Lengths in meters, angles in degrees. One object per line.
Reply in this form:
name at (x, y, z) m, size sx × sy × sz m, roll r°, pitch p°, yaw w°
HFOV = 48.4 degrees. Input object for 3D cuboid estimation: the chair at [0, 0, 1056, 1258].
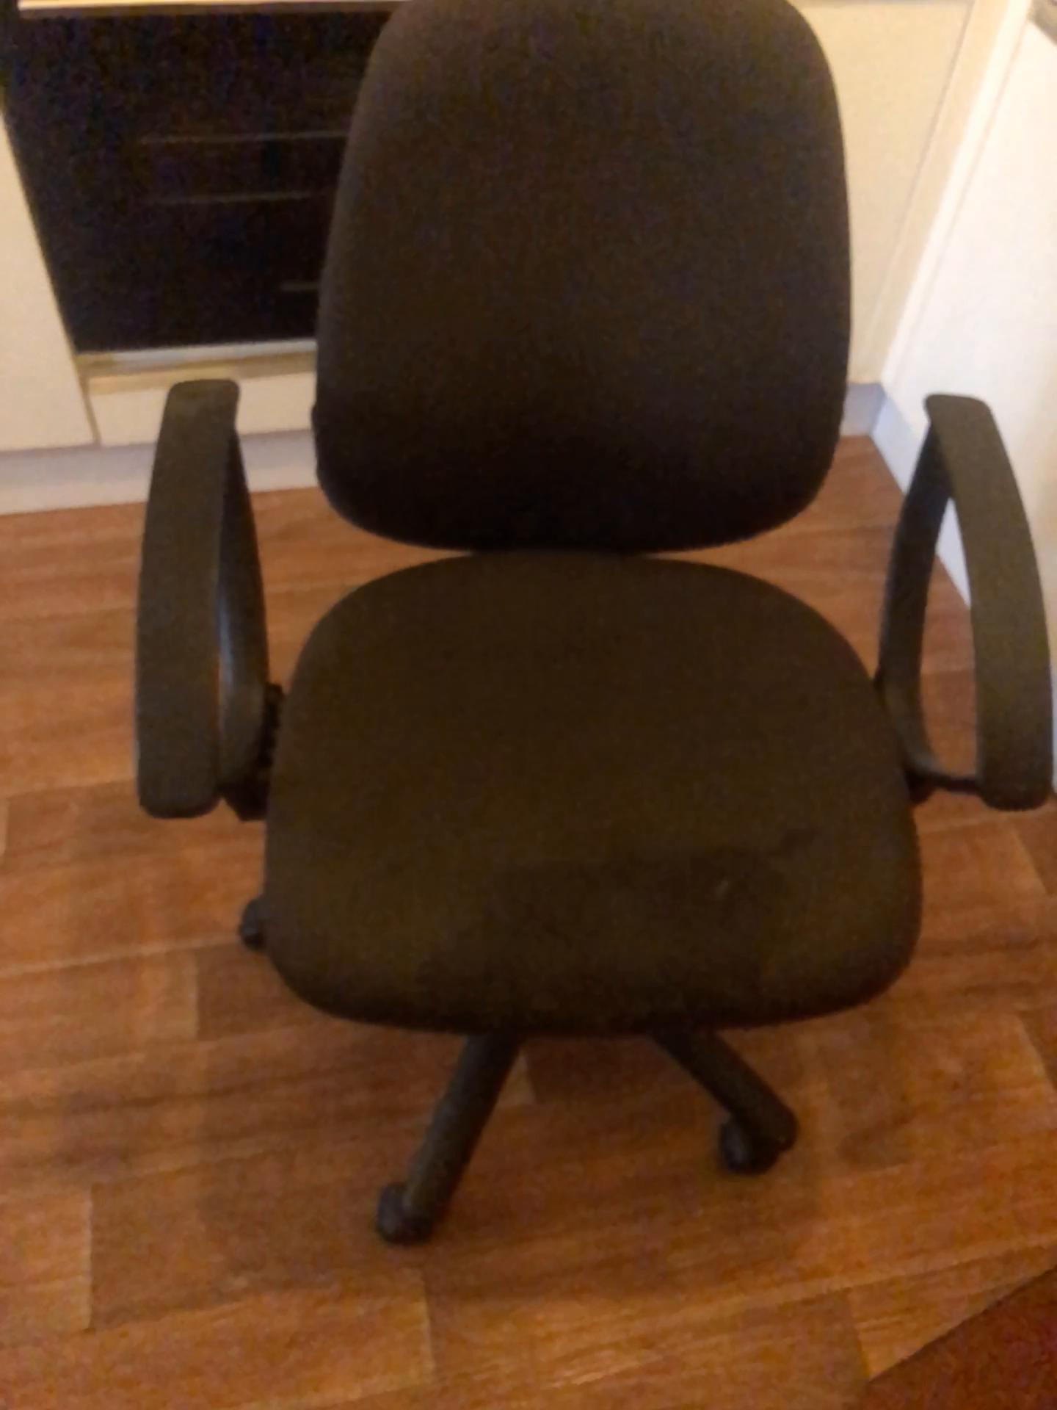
chair at (0.047, -0.010, 0.954) m, size 0.673 × 0.816 × 0.655 m, roll 2°, pitch 52°, yaw -3°
